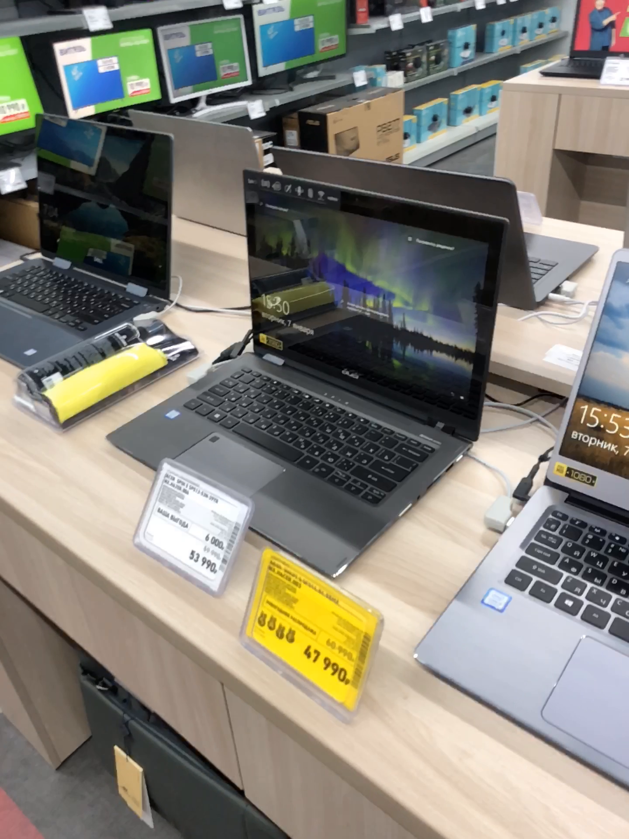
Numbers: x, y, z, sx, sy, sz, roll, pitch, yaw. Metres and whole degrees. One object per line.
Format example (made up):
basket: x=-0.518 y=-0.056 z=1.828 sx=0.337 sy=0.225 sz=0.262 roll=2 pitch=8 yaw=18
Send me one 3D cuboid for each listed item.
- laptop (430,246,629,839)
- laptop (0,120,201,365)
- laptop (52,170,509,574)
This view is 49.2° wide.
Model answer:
laptop: x=0.265 y=0.052 z=0.442 sx=0.271 sy=0.196 sz=0.299 roll=21 pitch=42 yaw=34
laptop: x=-0.403 y=-0.277 z=0.989 sx=0.340 sy=0.215 sz=0.289 roll=22 pitch=43 yaw=35
laptop: x=-0.029 y=-0.075 z=0.657 sx=0.315 sy=0.215 sz=0.246 roll=24 pitch=44 yaw=35
